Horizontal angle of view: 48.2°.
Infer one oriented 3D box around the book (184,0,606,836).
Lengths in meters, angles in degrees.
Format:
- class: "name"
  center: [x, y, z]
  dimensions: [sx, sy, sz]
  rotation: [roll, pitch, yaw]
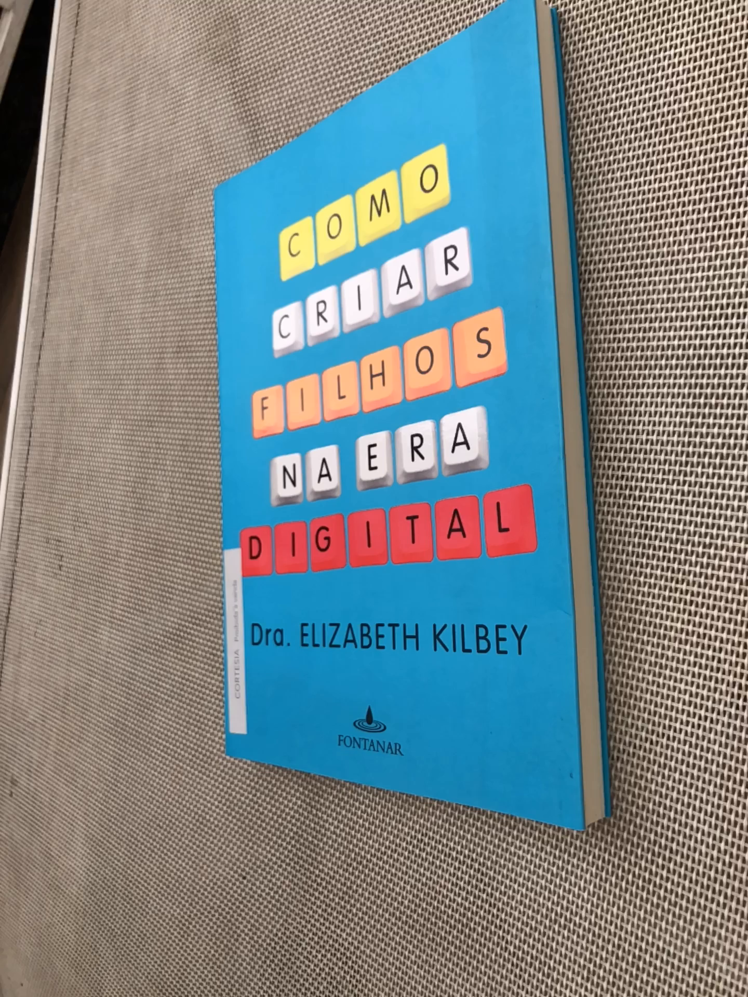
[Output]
- class: "book"
  center: [-0.009, -0.023, 0.279]
  dimensions: [0.163, 0.020, 0.228]
  rotation: [-8, 81, 44]
